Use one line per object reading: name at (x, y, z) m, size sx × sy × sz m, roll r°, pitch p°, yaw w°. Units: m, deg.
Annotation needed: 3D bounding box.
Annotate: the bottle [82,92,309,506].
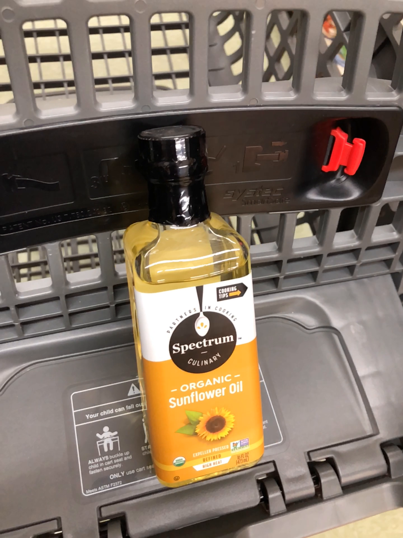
bottle at (-0.002, 0.021, 0.238) m, size 0.080 × 0.200 × 0.070 m, roll -11°, pitch 30°, yaw -12°
